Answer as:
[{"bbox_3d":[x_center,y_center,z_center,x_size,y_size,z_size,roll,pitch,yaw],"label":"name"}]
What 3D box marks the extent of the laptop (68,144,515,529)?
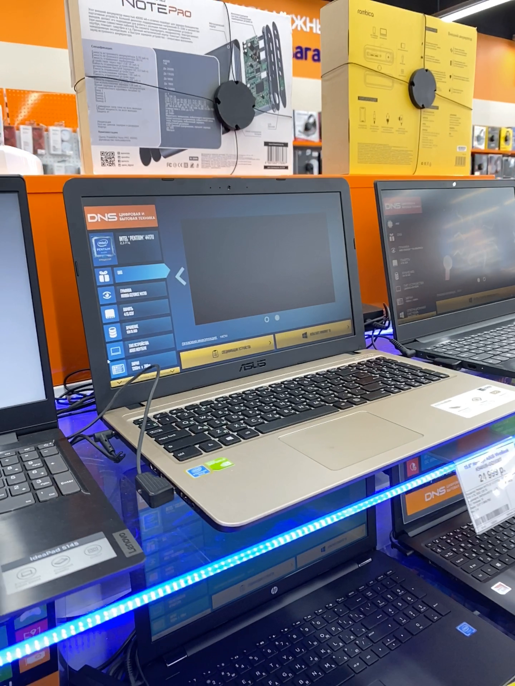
[{"bbox_3d":[0.053,-0.051,0.529,0.376,0.230,0.294,-10,16,-32],"label":"laptop"}]
